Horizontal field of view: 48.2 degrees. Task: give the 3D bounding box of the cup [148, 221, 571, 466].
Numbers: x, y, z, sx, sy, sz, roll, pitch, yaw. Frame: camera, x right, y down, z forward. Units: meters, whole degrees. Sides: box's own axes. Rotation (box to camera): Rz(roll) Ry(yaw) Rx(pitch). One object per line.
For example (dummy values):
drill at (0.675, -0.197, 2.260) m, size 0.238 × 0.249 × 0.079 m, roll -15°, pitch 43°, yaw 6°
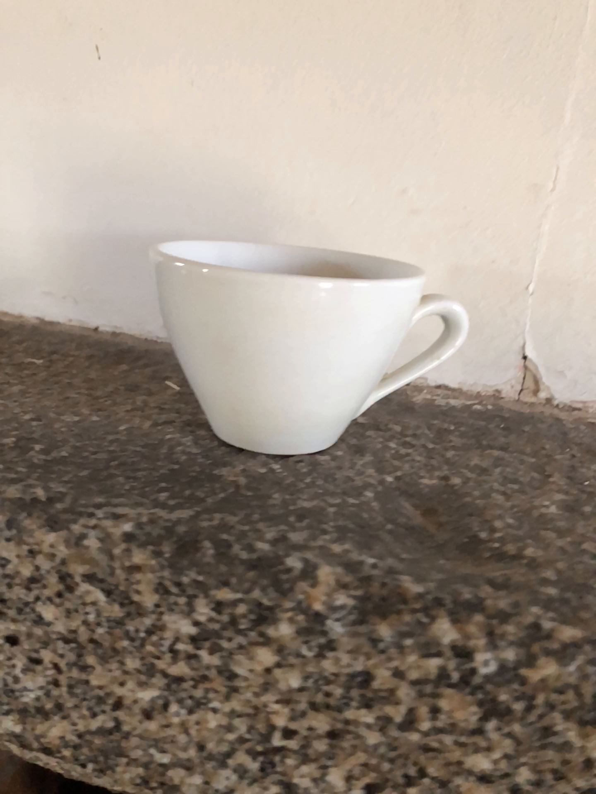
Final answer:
cup at (0.008, -0.020, 0.195) m, size 0.100 × 0.050 × 0.080 m, roll 0°, pitch 18°, yaw -13°
